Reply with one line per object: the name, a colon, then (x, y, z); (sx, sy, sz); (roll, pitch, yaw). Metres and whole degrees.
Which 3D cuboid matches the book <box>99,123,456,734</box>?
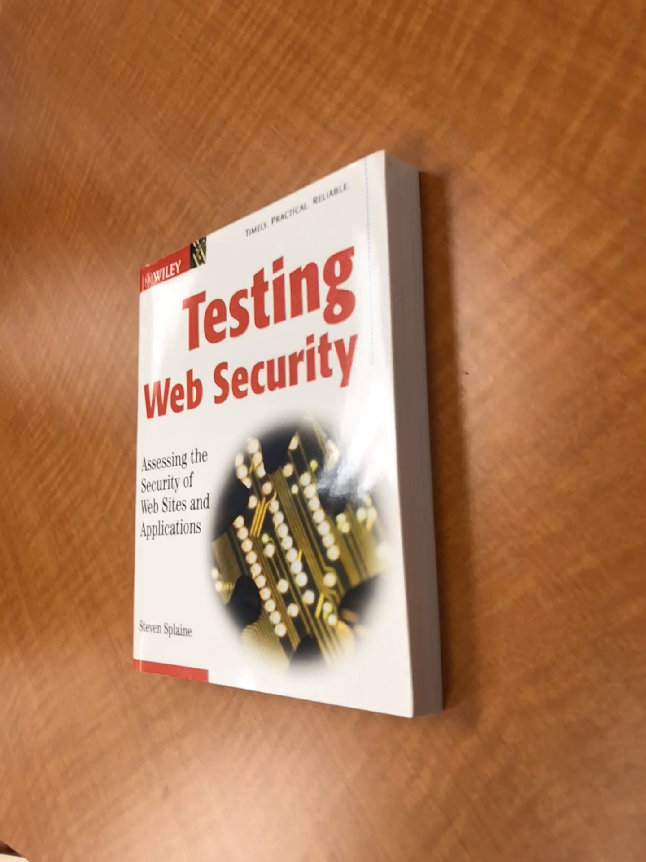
book: (-0.037, 0.005, 0.340); (0.201, 0.030, 0.230); (-9, 77, 41)
